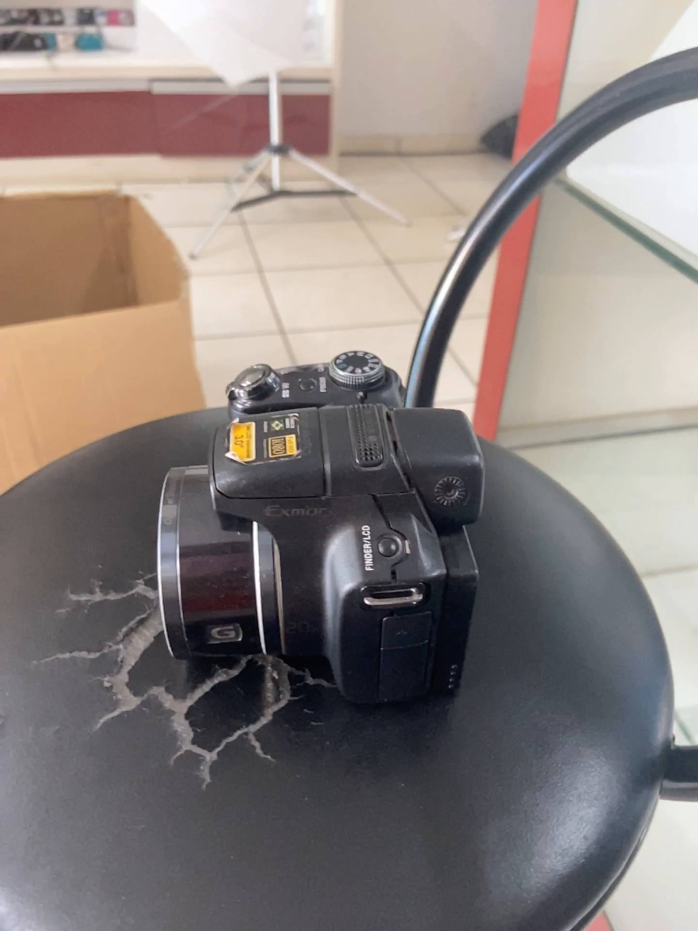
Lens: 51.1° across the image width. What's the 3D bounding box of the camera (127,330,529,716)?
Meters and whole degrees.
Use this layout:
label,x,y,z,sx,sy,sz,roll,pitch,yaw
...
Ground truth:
label,x,y,z,sx,sy,sz,roll,pitch,yaw
camera,-0.009,0.014,0.245,0.100,0.079,0.101,-1,37,-5
